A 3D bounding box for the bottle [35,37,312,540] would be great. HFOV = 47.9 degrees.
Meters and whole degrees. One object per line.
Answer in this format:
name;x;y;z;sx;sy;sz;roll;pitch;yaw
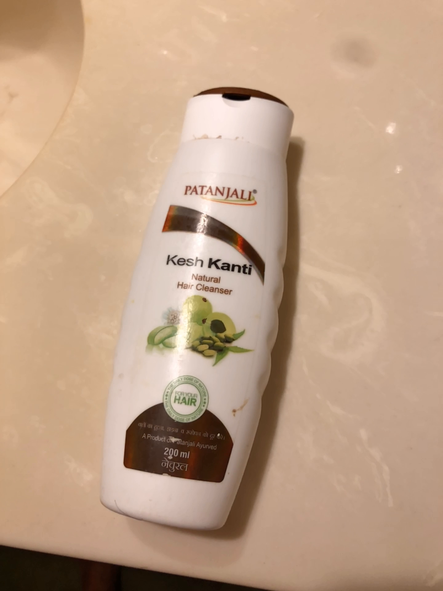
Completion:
bottle;-0.011;-0.013;0.216;0.070;0.040;0.200;8;75;12
